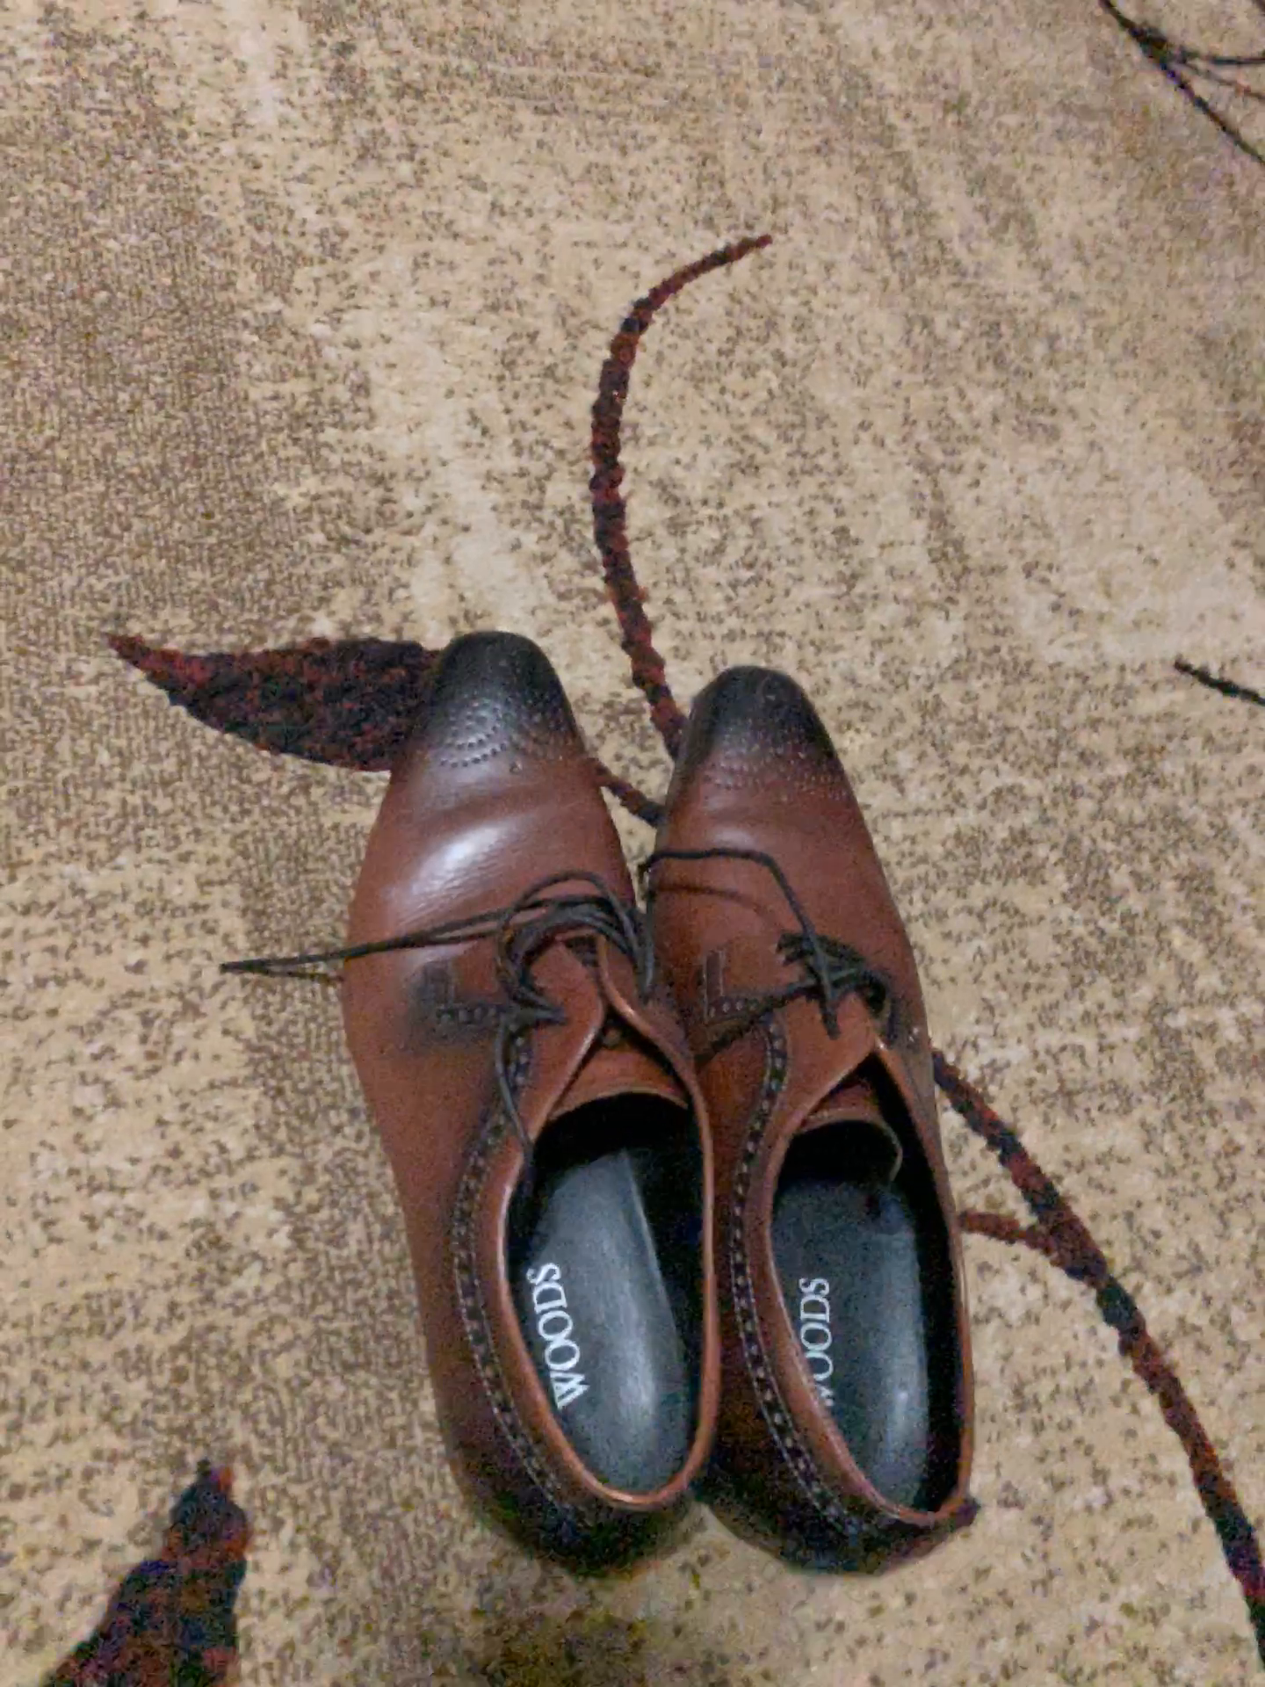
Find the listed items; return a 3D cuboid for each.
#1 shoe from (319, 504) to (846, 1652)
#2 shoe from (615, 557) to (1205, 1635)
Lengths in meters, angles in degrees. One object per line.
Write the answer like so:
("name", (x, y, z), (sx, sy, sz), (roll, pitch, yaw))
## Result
("shoe", (-0.034, 0.055, 0.381), (0.100, 0.115, 0.287), (0, 65, -17))
("shoe", (0.064, 0.068, 0.403), (0.100, 0.115, 0.287), (4, 64, -15))
